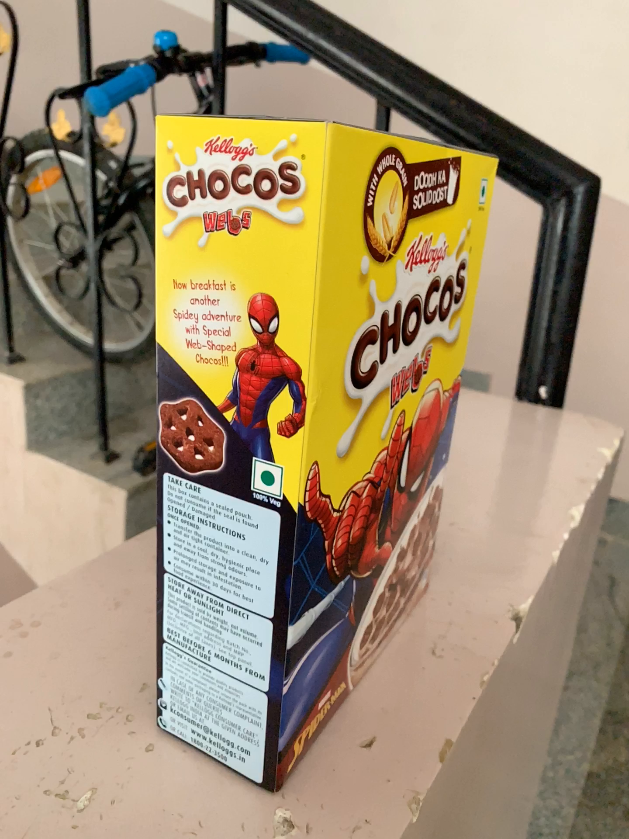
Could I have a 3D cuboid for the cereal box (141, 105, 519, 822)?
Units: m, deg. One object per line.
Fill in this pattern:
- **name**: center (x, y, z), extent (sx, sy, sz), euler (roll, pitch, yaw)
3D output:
- **cereal box**: center (0.015, 0.003, 0.304), extent (0.070, 0.248, 0.191), euler (15, 22, 26)
